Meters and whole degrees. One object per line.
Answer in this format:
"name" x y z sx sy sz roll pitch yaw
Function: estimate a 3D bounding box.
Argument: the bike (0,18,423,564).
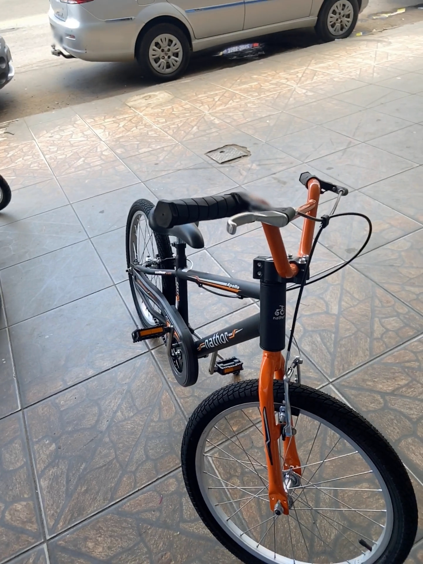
"bike" 0.047 -0.031 1.189 0.724 0.978 1.355 -27 44 -21
